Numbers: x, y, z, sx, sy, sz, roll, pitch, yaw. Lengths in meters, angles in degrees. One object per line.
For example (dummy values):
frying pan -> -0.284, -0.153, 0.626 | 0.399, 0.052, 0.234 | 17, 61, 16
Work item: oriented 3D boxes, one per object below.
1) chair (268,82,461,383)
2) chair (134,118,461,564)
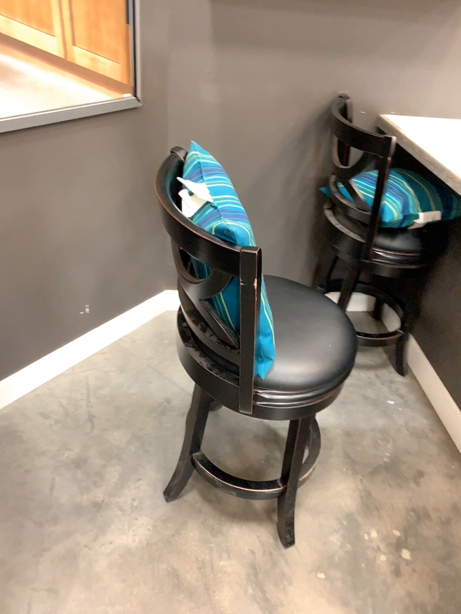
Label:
chair -> 0.544, -0.244, 1.731 | 0.595, 0.923, 0.538 | 1, 37, -8
chair -> 0.095, 0.110, 1.134 | 0.595, 0.903, 0.538 | 1, 37, -8
